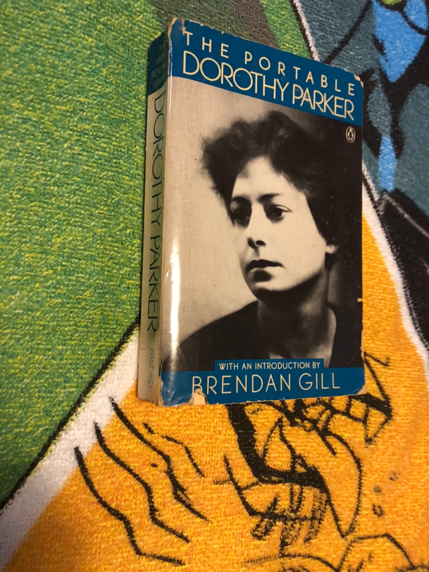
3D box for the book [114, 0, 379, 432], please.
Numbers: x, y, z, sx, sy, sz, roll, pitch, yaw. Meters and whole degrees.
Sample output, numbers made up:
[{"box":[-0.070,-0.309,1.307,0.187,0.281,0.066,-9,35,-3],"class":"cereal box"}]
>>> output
[{"box":[0.023,-0.035,0.258,0.141,0.040,0.200,3,86,-30],"class":"book"}]
